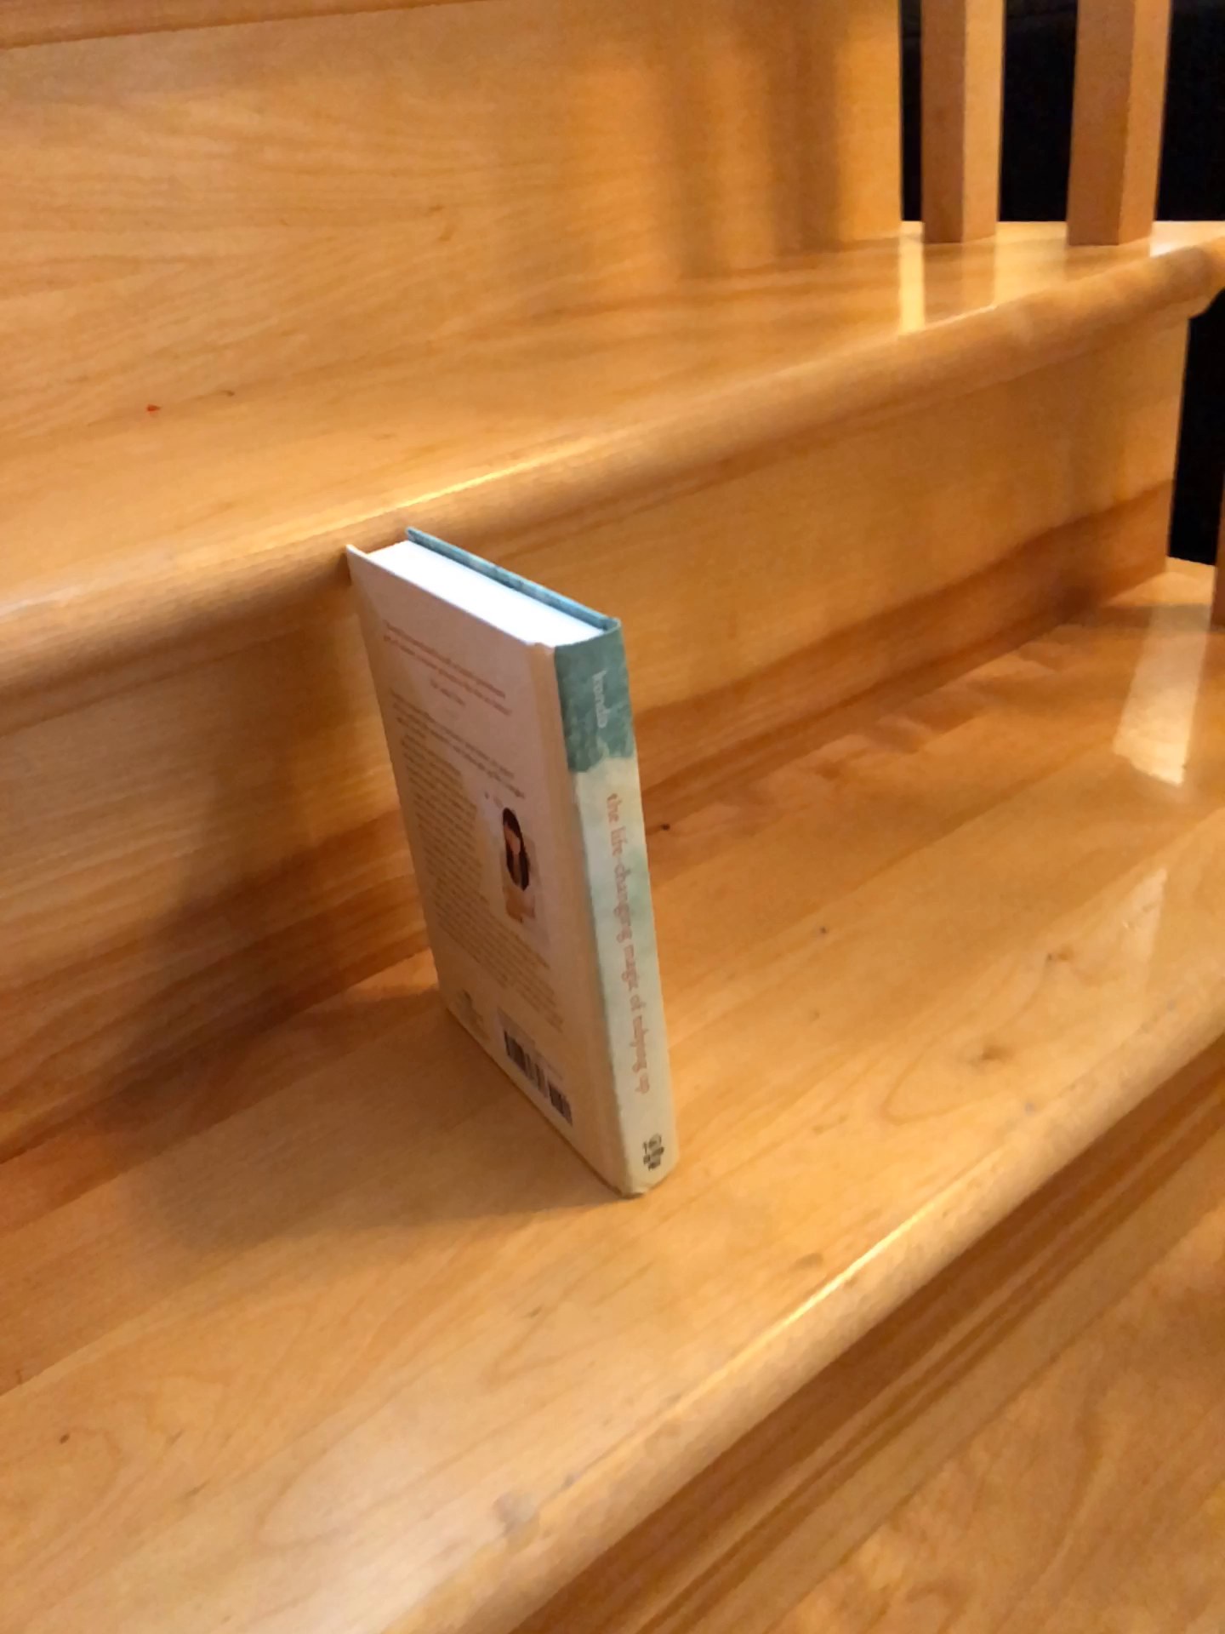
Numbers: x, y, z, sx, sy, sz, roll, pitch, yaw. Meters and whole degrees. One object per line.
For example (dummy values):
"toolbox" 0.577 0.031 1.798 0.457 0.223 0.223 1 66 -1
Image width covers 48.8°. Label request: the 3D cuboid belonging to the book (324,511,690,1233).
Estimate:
"book" -0.034 0.014 0.438 0.027 0.199 0.141 -22 32 -26
